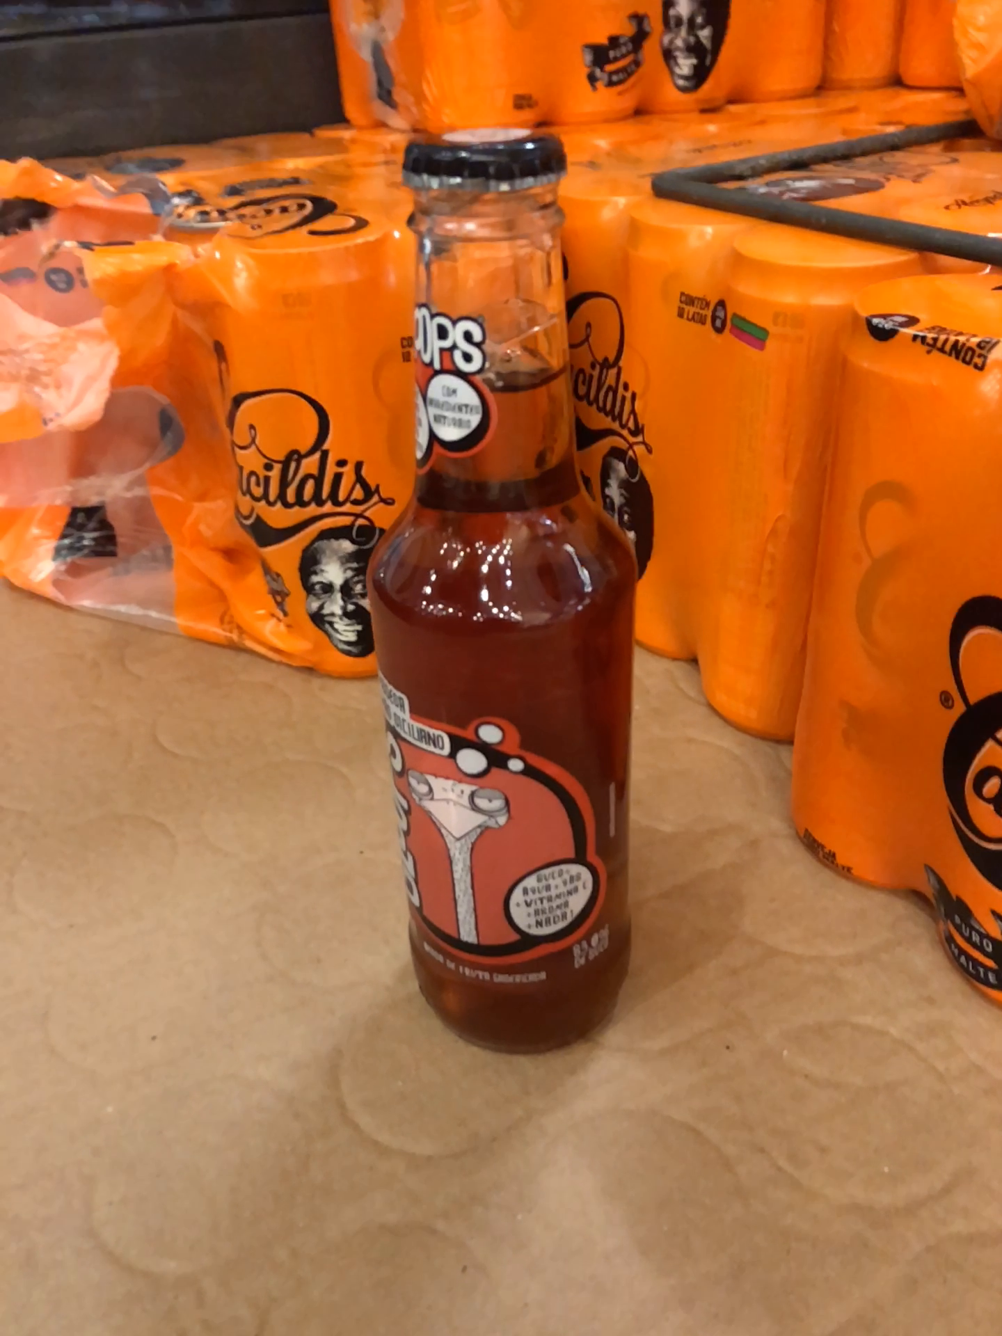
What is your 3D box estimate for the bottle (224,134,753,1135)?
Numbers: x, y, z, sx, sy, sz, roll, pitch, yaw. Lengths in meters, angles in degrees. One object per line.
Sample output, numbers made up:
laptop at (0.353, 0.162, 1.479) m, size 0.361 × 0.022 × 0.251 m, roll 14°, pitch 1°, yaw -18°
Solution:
bottle at (0.001, -0.001, 0.228) m, size 0.070 × 0.189 × 0.050 m, roll 25°, pitch 42°, yaw 37°
